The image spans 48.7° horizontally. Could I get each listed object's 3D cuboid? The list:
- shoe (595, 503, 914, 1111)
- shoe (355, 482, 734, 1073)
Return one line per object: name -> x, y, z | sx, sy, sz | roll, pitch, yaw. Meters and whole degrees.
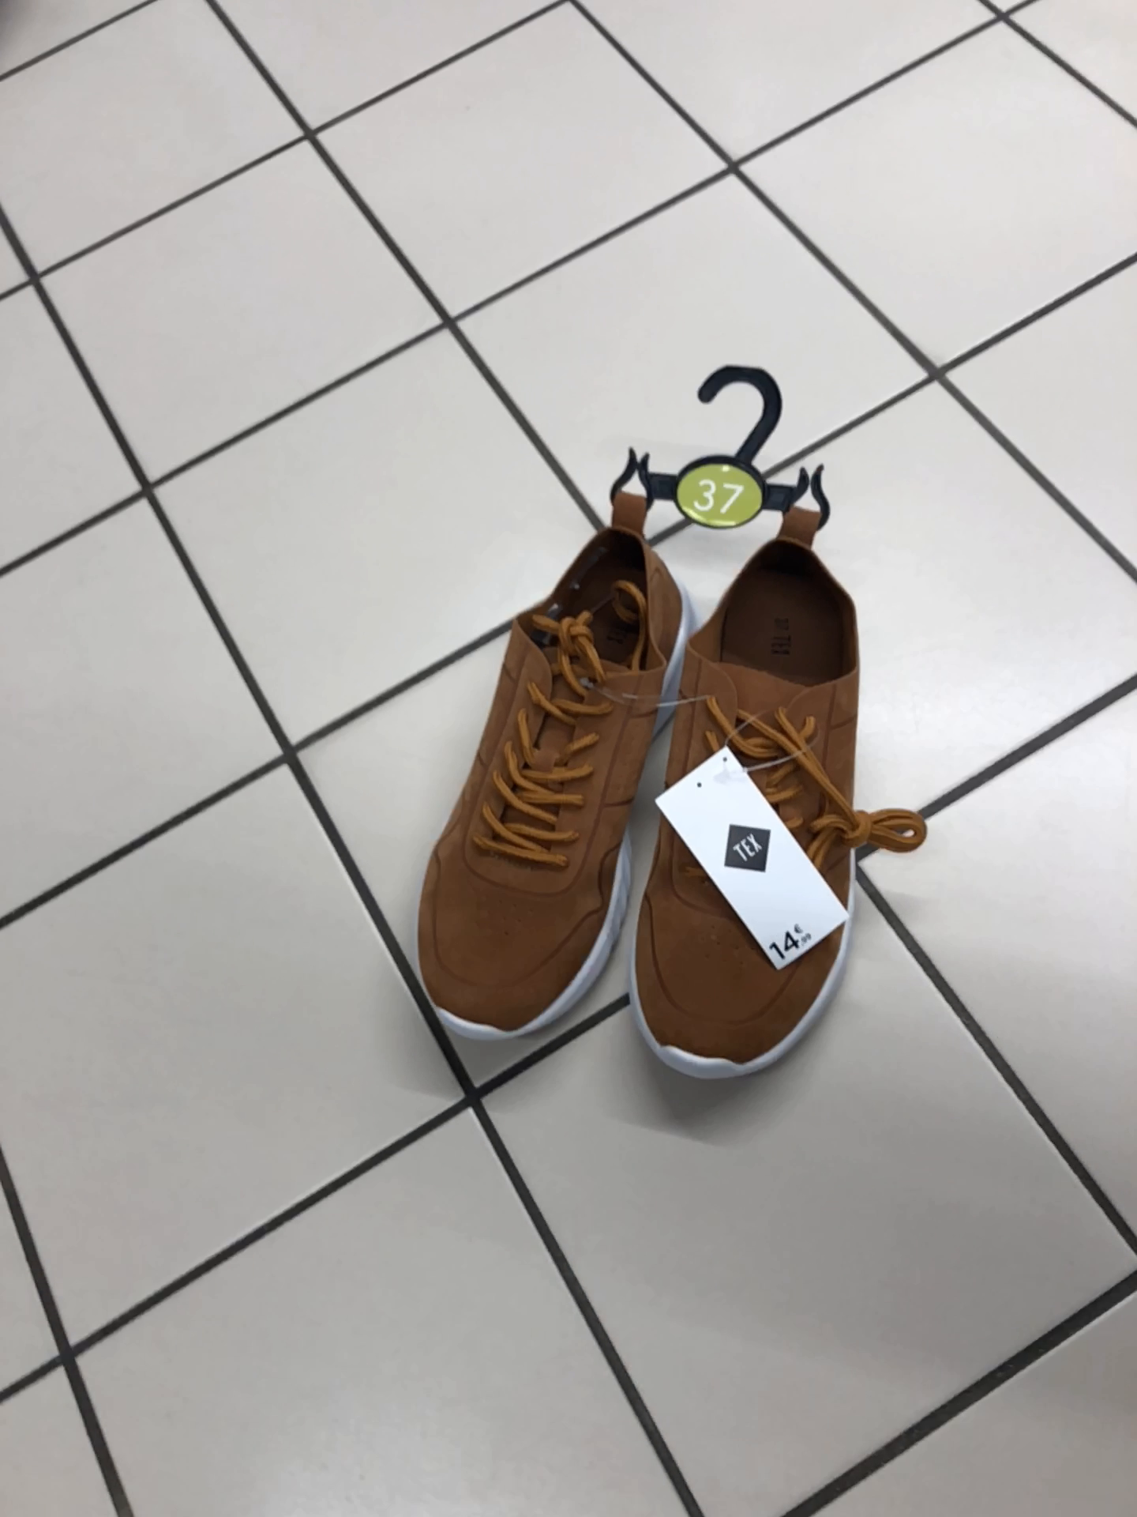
shoe -> 0.085, 0.019, 0.541 | 0.090, 0.100, 0.231 | 8, 67, 12
shoe -> 0.001, 0.007, 0.544 | 0.090, 0.100, 0.221 | 12, 68, 14
